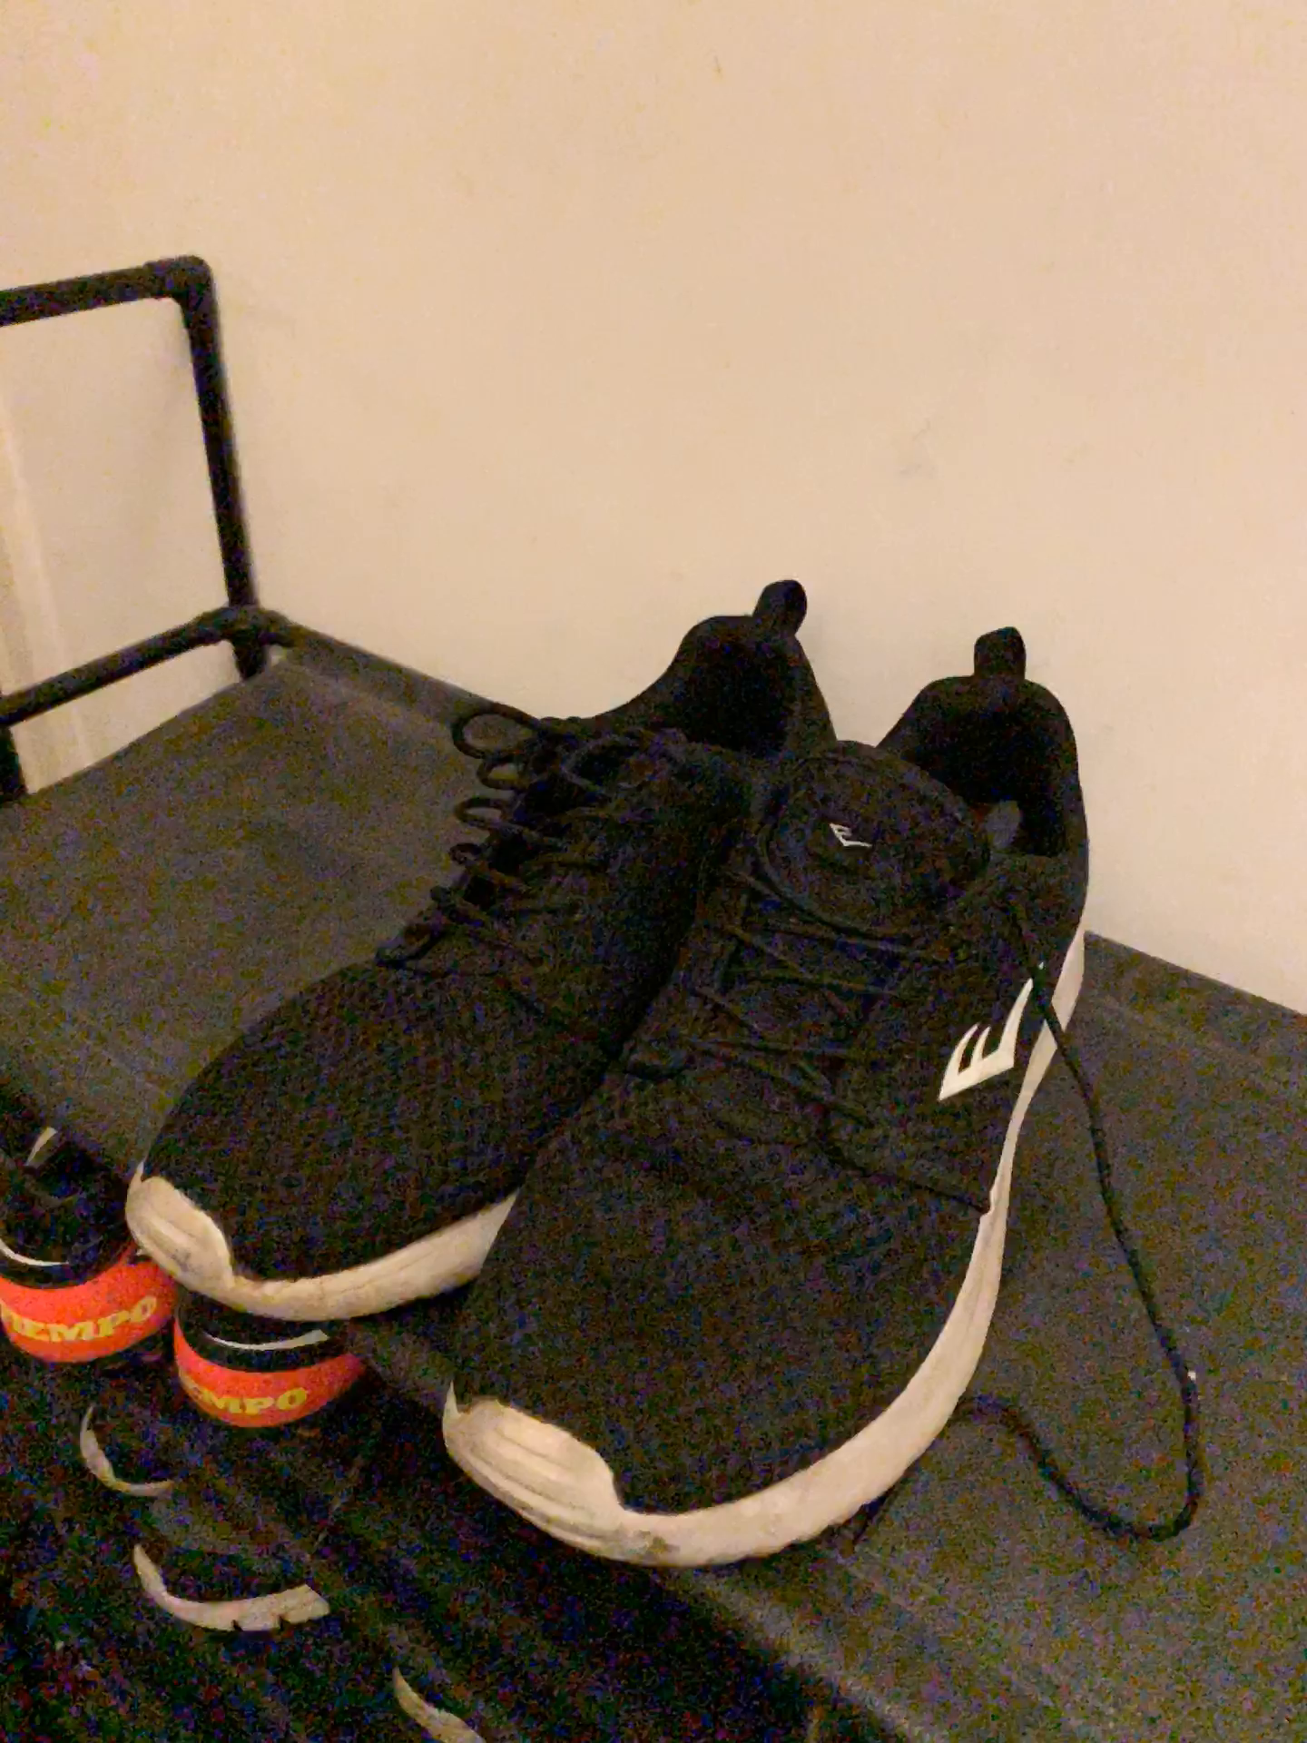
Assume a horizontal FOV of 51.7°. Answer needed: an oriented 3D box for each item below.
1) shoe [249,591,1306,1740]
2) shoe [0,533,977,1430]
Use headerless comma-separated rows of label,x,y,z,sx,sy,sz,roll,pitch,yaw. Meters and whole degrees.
shoe,0.059,0.033,0.357,0.120,0.099,0.302,22,39,28
shoe,-0.027,-0.001,0.406,0.110,0.099,0.302,24,40,30
